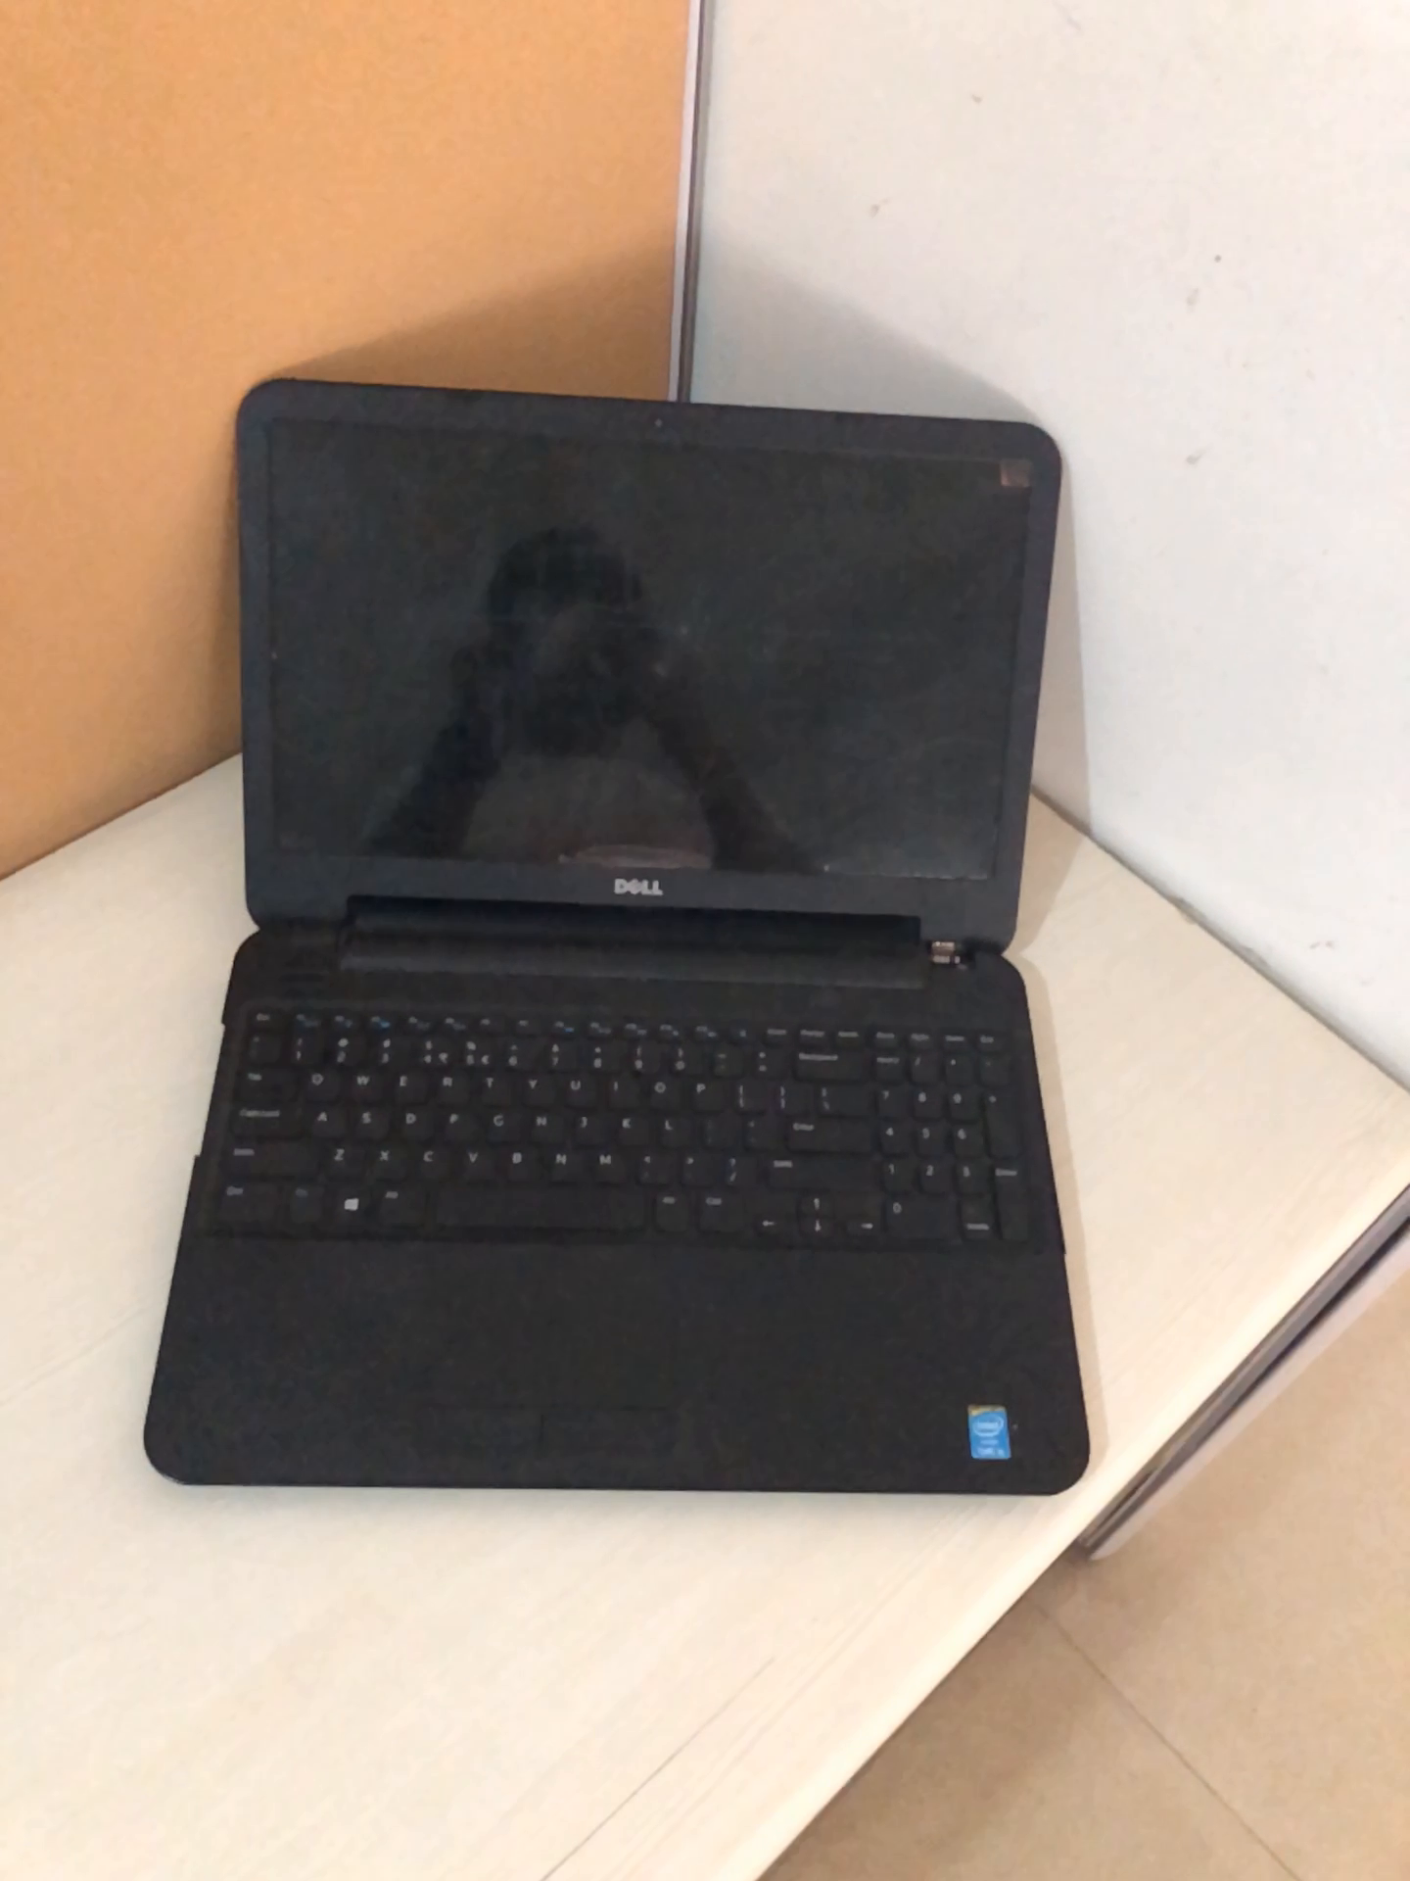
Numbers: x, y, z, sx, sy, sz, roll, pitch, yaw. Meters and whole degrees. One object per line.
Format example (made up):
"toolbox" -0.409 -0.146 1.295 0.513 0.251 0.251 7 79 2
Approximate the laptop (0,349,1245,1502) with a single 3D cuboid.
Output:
"laptop" -0.027 -0.020 0.625 0.352 0.175 0.415 2 55 -3
